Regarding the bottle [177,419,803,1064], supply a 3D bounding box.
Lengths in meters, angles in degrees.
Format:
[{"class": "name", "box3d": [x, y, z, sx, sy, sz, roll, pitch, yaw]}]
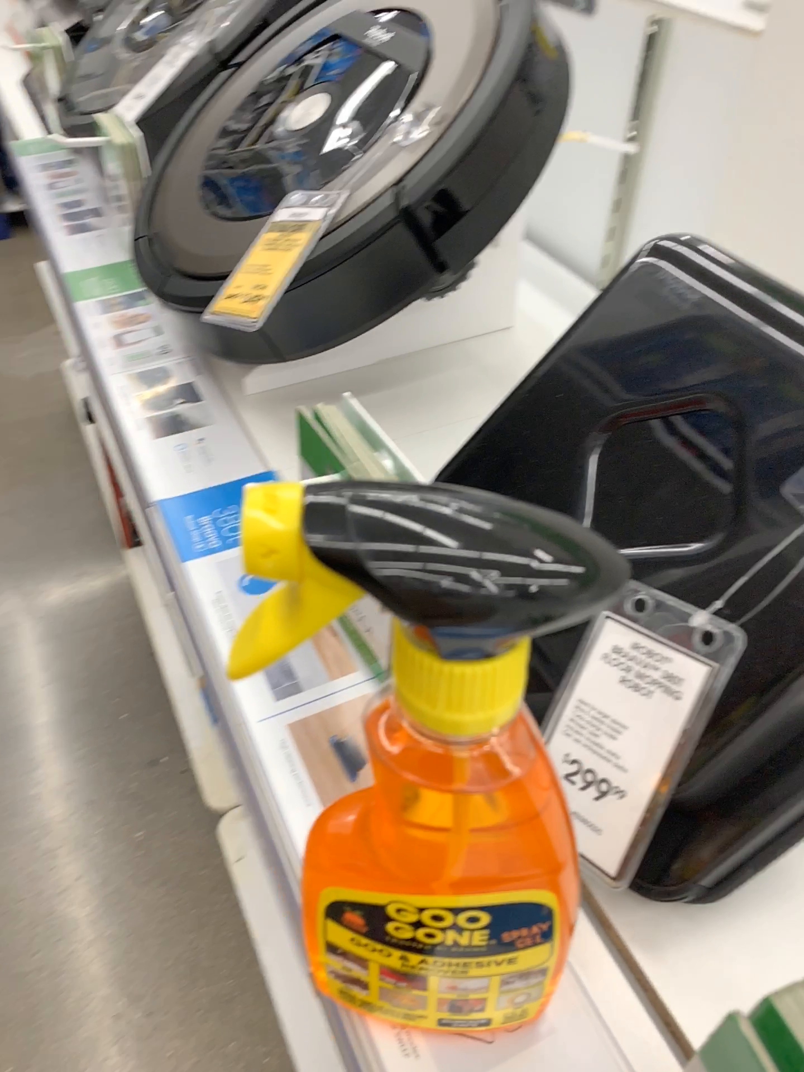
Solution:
[{"class": "bottle", "box3d": [0.015, 0.078, 0.227, 0.100, 0.226, 0.050, 3, 43, 3]}]
